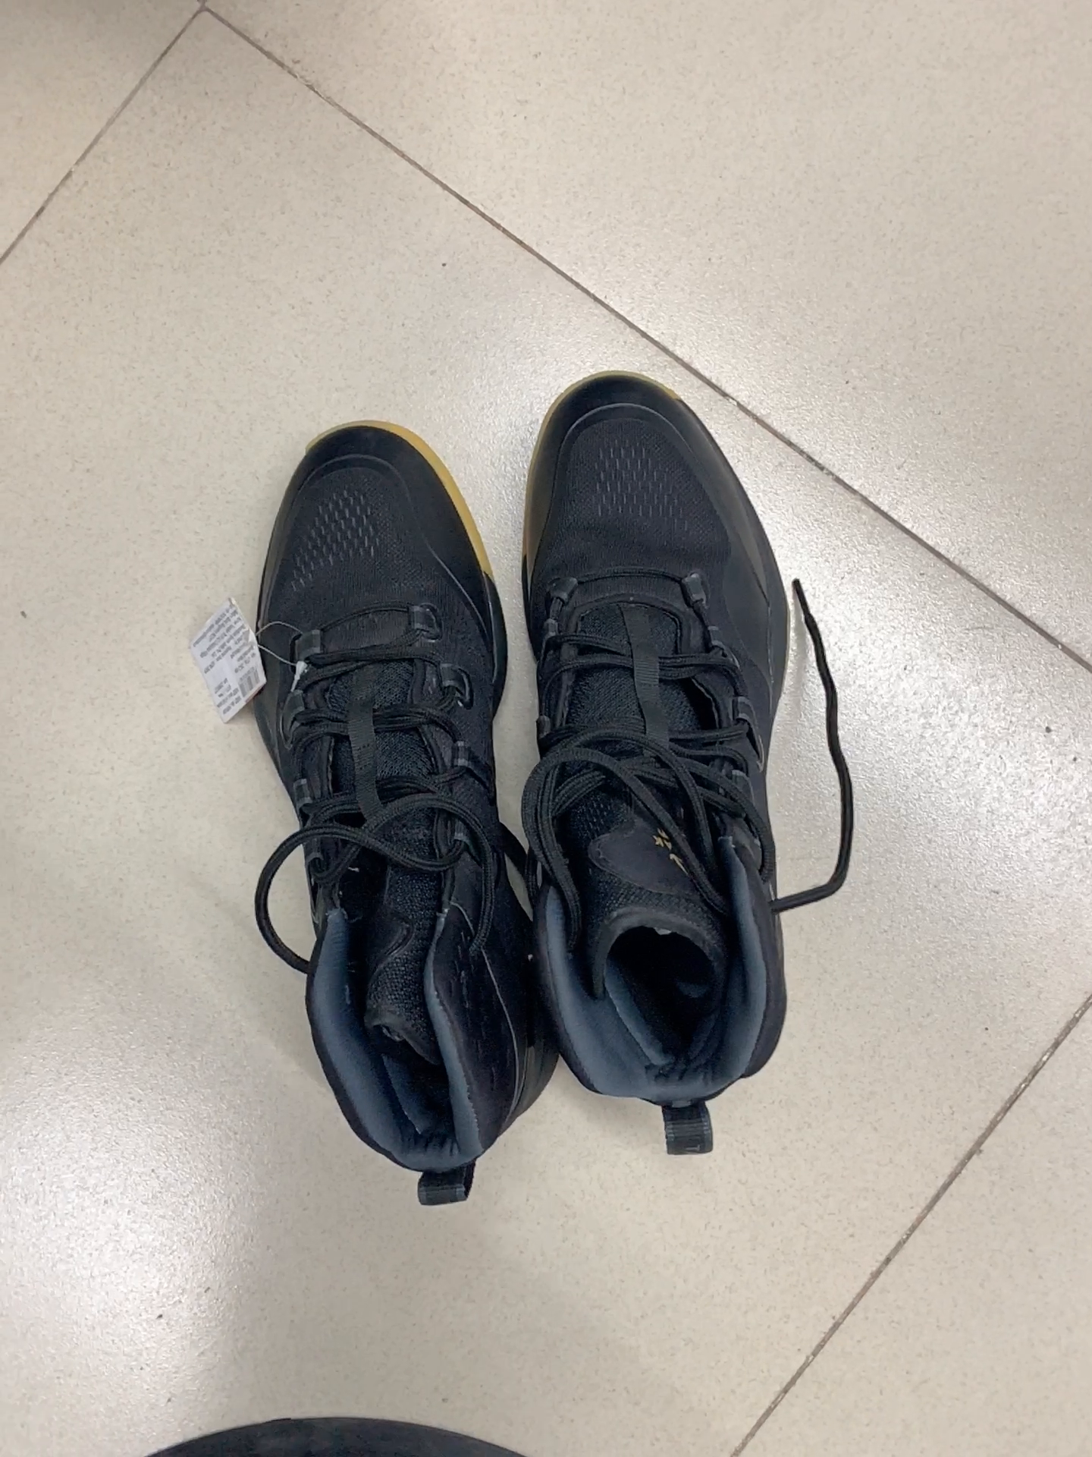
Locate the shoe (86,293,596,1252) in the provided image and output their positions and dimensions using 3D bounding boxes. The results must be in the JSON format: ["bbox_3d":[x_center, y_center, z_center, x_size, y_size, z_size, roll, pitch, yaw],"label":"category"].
[{"bbox_3d":[-0.065,0.015,0.427,0.110,0.140,0.290,-11,87,4],"label":"shoe"}]

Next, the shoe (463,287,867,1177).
[{"bbox_3d":[0.041,0.002,0.419,0.110,0.090,0.290,-5,87,4],"label":"shoe"}]
